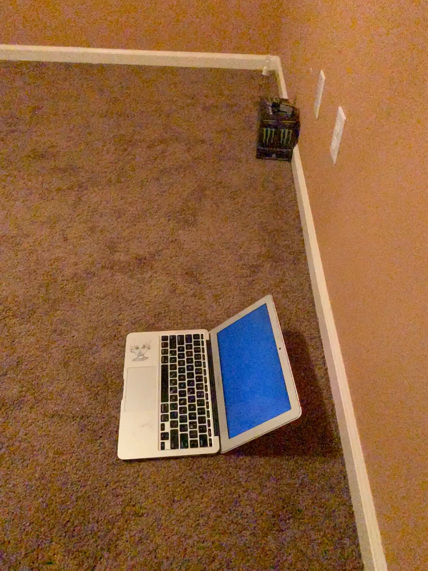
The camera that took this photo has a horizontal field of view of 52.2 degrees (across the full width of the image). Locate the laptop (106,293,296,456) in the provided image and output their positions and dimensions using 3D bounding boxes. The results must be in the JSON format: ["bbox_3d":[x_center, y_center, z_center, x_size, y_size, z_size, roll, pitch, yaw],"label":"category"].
[{"bbox_3d":[-0.031,0.167,0.889,0.324,0.116,0.300,-2,44,-3],"label":"laptop"}]
